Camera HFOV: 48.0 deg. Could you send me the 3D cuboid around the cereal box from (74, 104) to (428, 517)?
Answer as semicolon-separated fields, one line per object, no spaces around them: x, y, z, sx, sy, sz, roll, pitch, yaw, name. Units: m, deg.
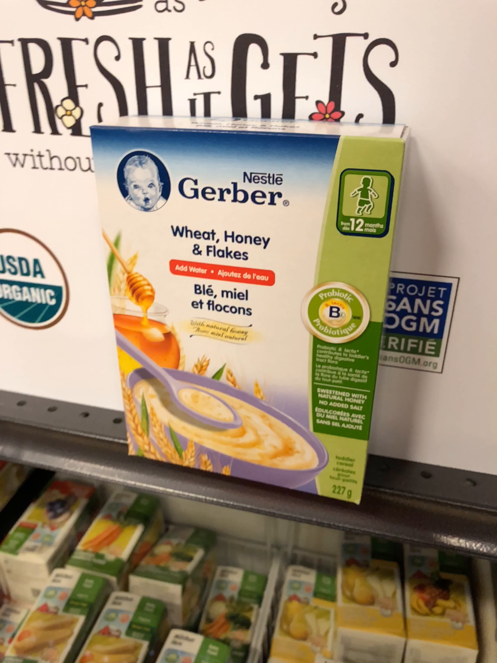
0.002;-0.009;0.296;0.150;0.199;0.050;8;29;16;cereal box
